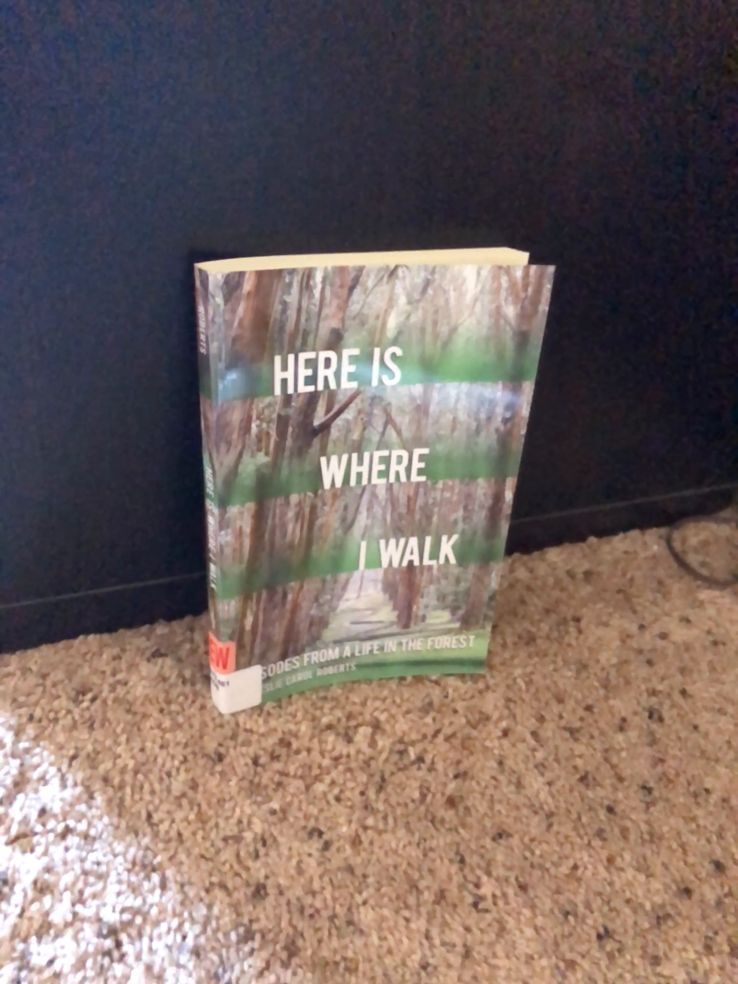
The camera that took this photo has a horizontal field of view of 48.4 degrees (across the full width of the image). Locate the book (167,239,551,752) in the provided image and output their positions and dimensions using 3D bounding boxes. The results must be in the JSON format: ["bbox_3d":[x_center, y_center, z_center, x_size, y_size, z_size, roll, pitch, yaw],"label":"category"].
[{"bbox_3d":[-0.006,0.003,0.364,0.146,0.212,0.037,-10,30,-24],"label":"book"}]
